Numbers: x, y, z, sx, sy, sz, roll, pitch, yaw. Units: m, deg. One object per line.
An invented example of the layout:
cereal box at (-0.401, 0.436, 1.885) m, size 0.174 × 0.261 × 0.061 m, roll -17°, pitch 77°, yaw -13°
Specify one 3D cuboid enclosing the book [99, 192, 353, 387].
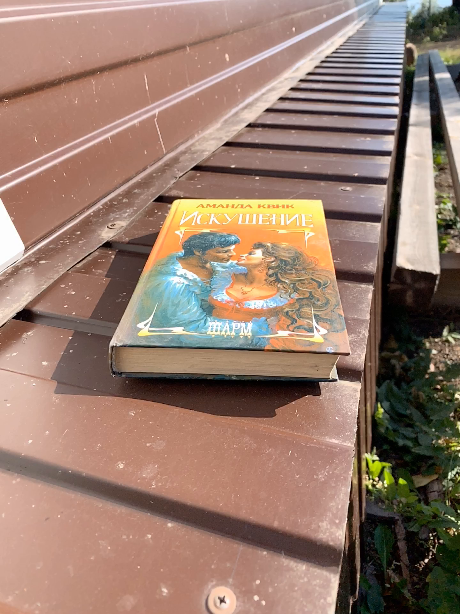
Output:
book at (0.006, -0.028, 0.337) m, size 0.134 × 0.024 × 0.201 m, roll 1°, pitch 37°, yaw 6°
